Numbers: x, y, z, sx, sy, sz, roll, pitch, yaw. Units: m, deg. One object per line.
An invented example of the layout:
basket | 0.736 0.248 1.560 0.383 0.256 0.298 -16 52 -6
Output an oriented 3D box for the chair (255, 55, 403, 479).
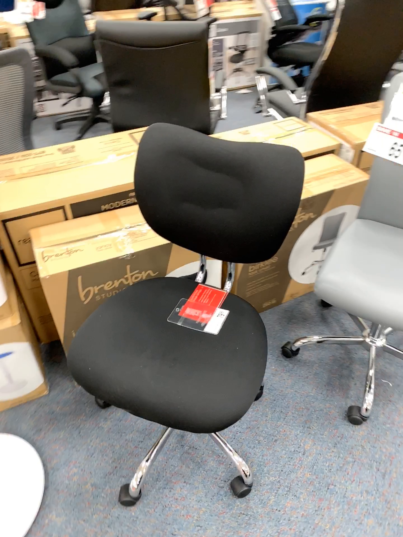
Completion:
chair | 0.647 -0.025 1.276 0.738 0.959 0.710 12 42 15

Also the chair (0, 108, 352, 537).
chair | -0.088 0.171 1.089 0.648 0.880 0.659 16 43 19

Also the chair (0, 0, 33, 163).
chair | -1.862 -1.509 2.978 0.738 1.049 0.871 -24 45 -25
